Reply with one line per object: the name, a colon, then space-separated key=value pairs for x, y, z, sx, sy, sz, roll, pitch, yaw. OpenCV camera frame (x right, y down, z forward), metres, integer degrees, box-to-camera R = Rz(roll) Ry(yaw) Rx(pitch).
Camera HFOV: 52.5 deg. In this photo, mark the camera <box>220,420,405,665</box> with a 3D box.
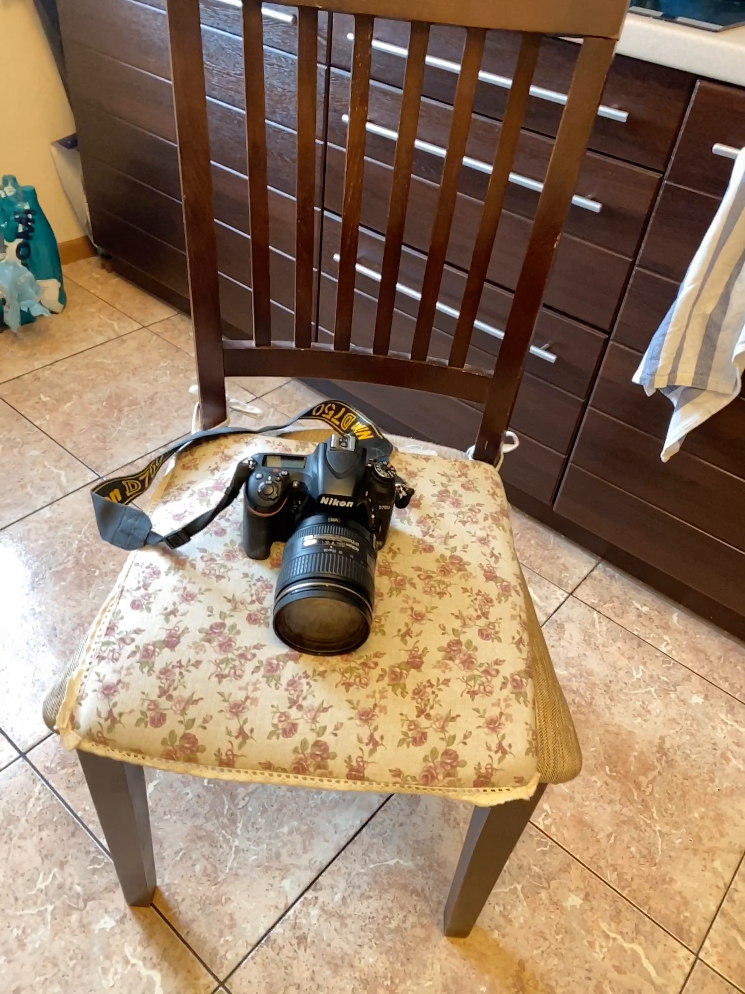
camera: x=-0.048 y=0.036 z=0.653 sx=0.135 sy=0.119 sz=0.165 roll=5 pitch=40 yaw=-3
